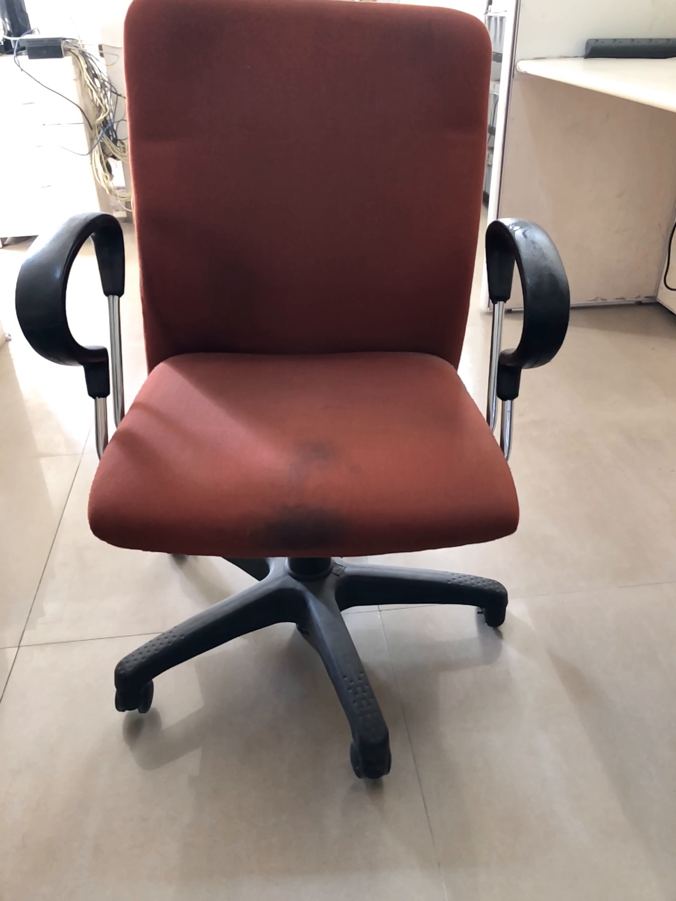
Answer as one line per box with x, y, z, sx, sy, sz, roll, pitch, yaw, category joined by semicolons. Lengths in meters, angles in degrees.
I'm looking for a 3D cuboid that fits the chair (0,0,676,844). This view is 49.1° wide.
-0.054;-0.074;1.085;0.770;1.043;0.705;-1;31;1;chair
